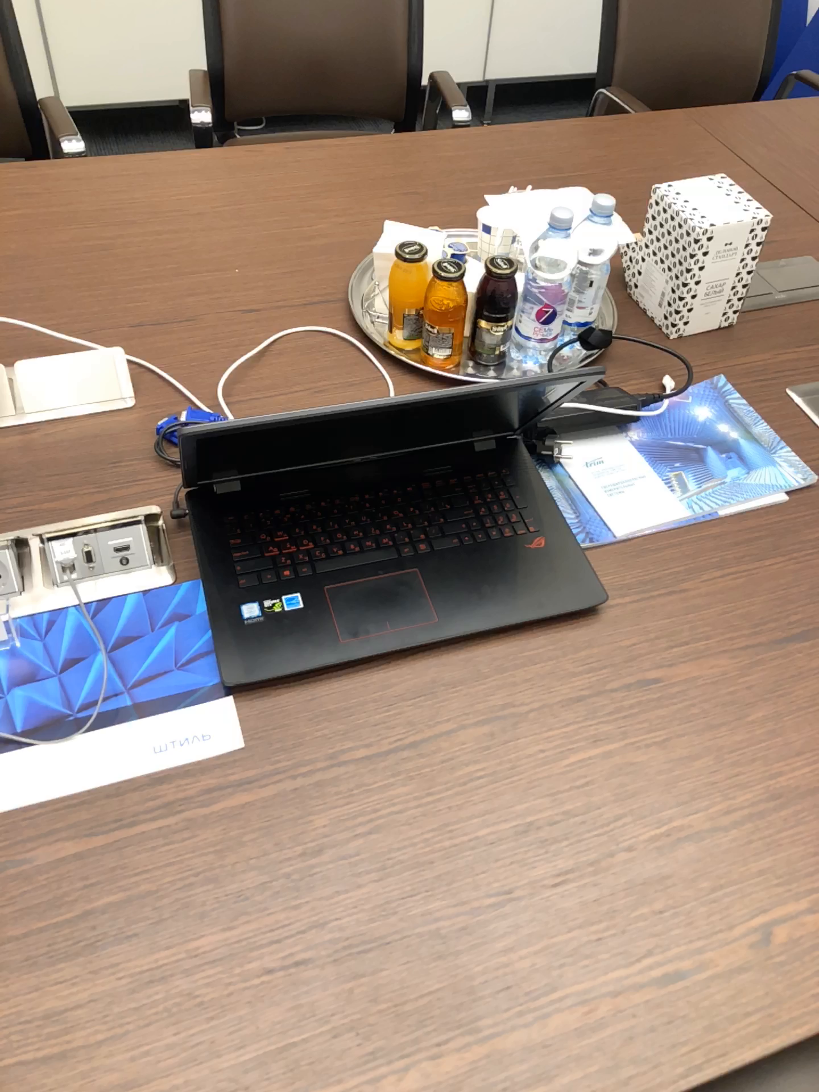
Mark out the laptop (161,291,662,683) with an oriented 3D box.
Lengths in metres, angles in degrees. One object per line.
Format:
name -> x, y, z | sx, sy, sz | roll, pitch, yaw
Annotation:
laptop -> -0.011, -0.066, 0.839 | 0.377, 0.189, 0.238 | -11, 52, -14
